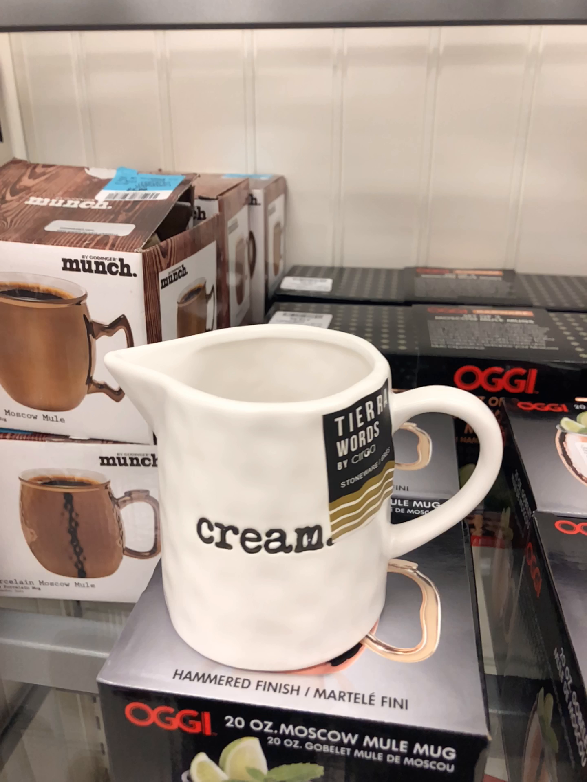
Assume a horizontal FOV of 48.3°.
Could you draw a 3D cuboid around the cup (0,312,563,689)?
[{"bbox_3d":[-0.004,0.027,0.186,0.125,0.080,0.063,1,24,3],"label":"cup"}]
